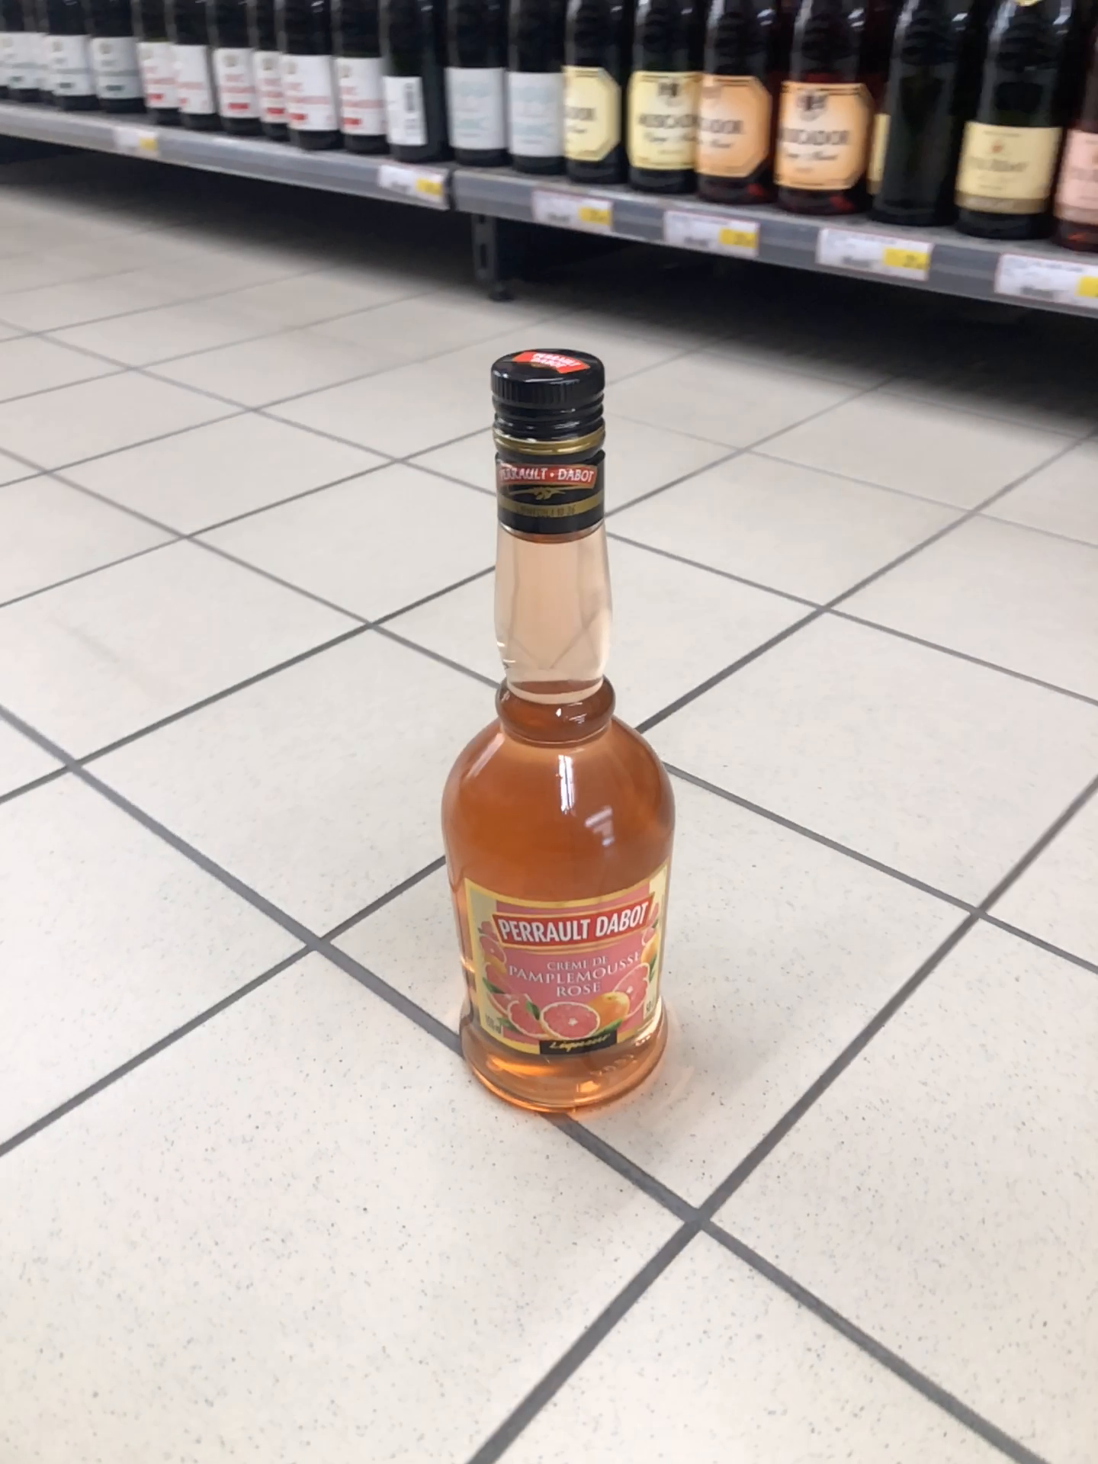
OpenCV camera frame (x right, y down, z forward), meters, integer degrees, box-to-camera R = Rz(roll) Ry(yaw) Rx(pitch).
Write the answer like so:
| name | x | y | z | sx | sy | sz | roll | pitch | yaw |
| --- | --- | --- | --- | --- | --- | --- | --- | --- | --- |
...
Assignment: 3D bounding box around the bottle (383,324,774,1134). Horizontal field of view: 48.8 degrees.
| name | x | y | z | sx | sy | sz | roll | pitch | yaw |
| --- | --- | --- | --- | --- | --- | --- | --- | --- | --- |
| bottle | 0.005 | 0.007 | 0.379 | 0.090 | 0.239 | 0.080 | -5 | 32 | -7 |
